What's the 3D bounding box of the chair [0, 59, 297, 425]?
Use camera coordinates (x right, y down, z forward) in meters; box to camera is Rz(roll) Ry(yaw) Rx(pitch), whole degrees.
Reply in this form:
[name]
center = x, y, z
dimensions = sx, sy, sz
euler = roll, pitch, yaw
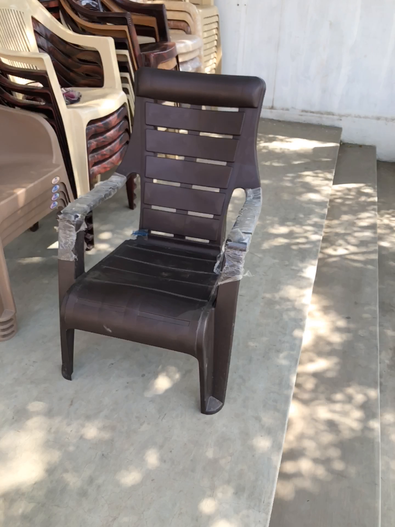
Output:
[chair]
center = -0.103, -0.130, 1.467
dimensions = 0.680, 0.875, 0.764
euler = 10, 35, 13
